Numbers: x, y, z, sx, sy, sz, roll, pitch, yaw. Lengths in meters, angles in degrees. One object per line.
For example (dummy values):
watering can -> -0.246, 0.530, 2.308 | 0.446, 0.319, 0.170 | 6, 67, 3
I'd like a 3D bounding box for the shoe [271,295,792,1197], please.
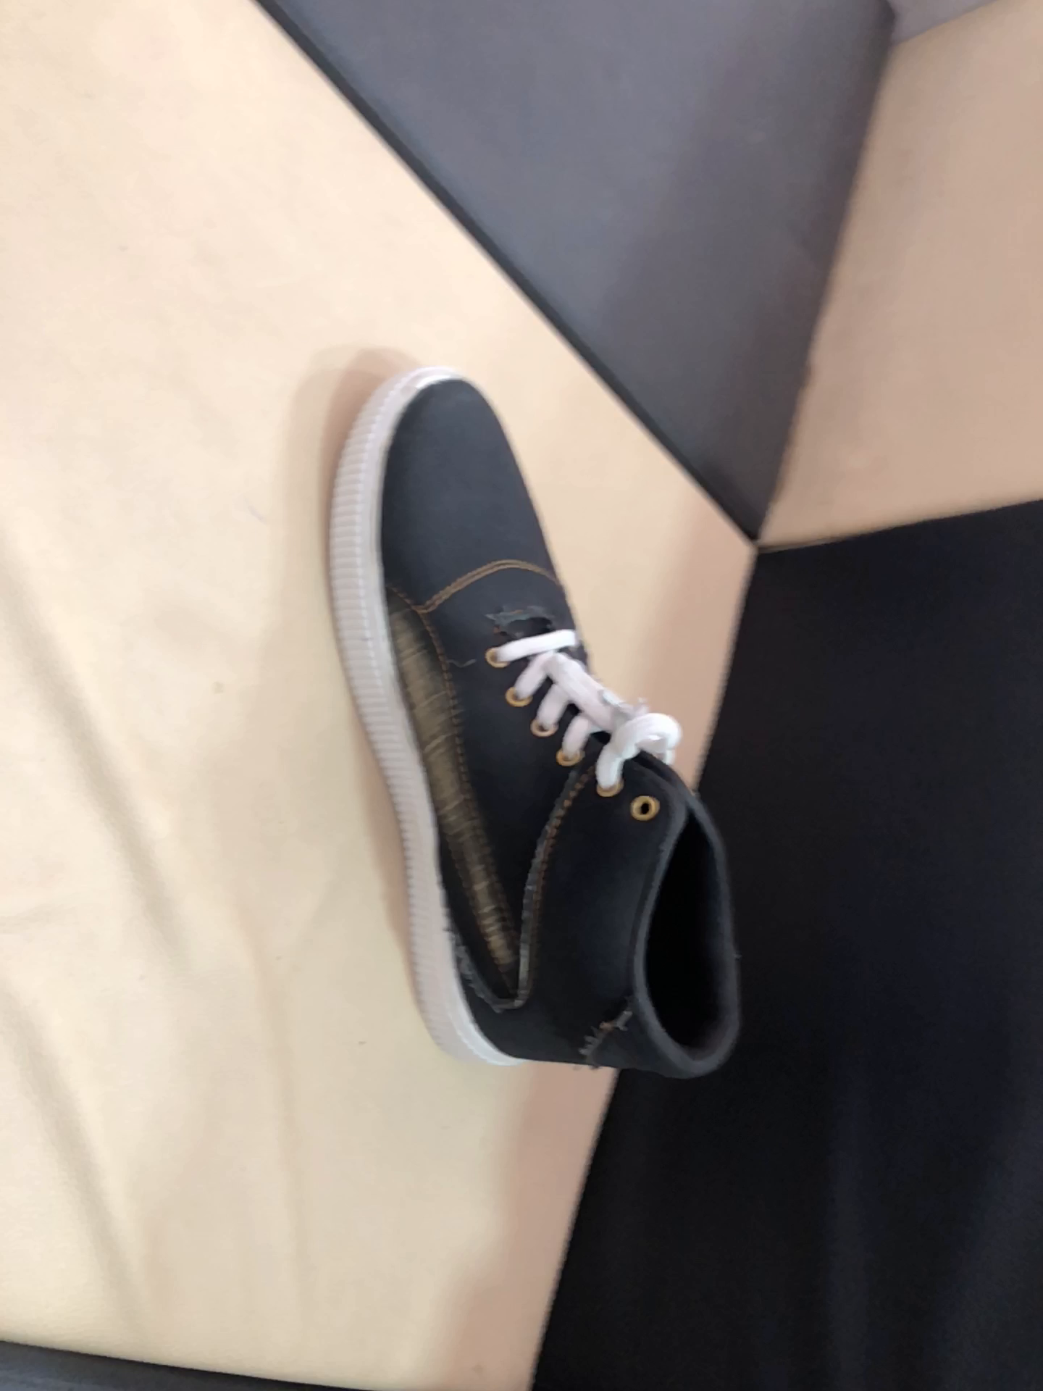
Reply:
shoe -> 0.008, 0.015, 0.447 | 0.101, 0.109, 0.300 | -19, 101, -45
